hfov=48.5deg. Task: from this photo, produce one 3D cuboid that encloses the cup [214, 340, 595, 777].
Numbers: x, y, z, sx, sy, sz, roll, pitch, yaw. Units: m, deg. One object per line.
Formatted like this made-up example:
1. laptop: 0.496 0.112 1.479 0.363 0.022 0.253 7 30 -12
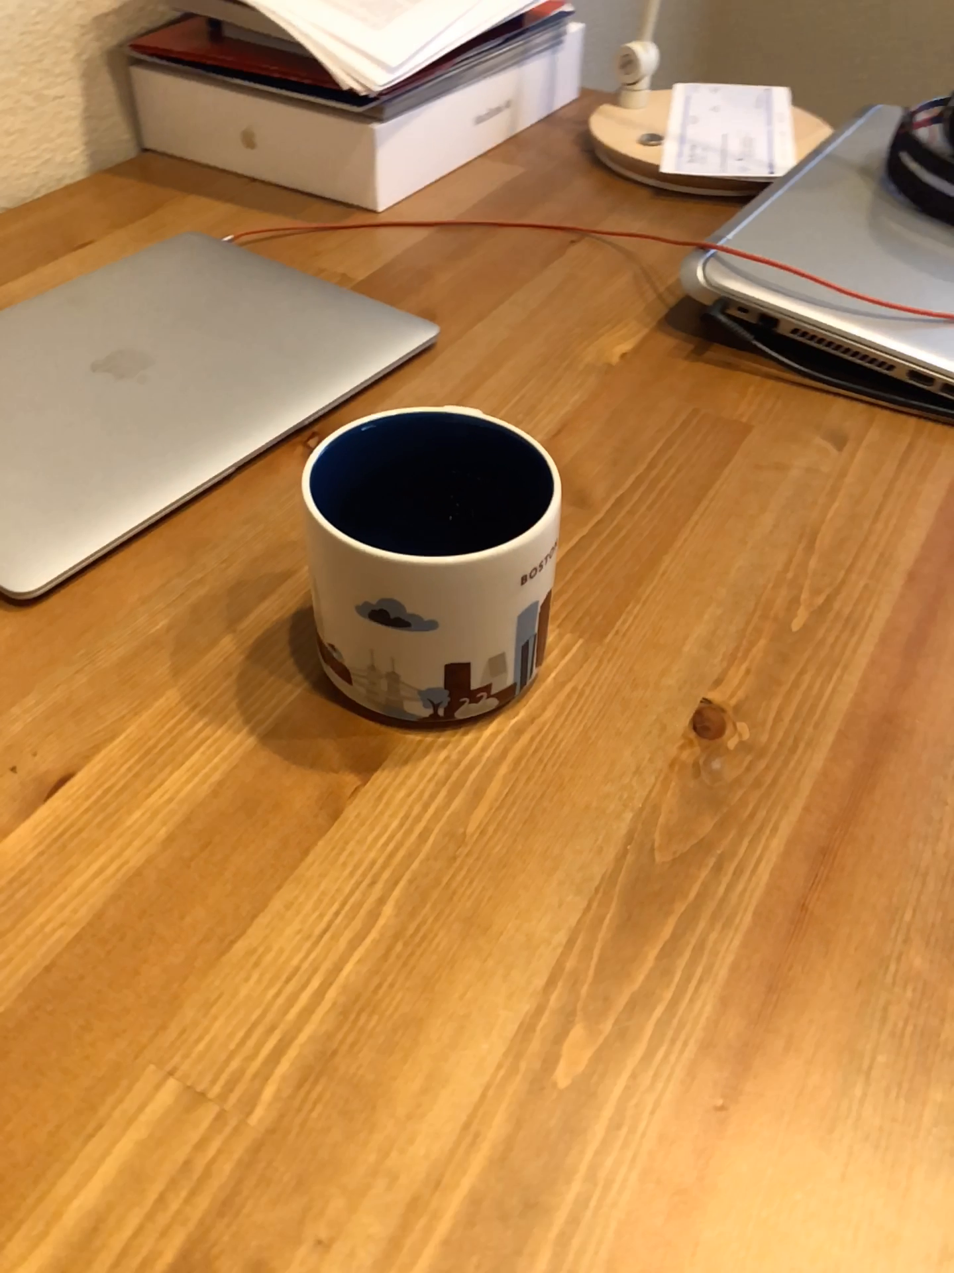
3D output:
1. cup: -0.021 -0.037 0.422 0.100 0.090 0.141 12 44 11
